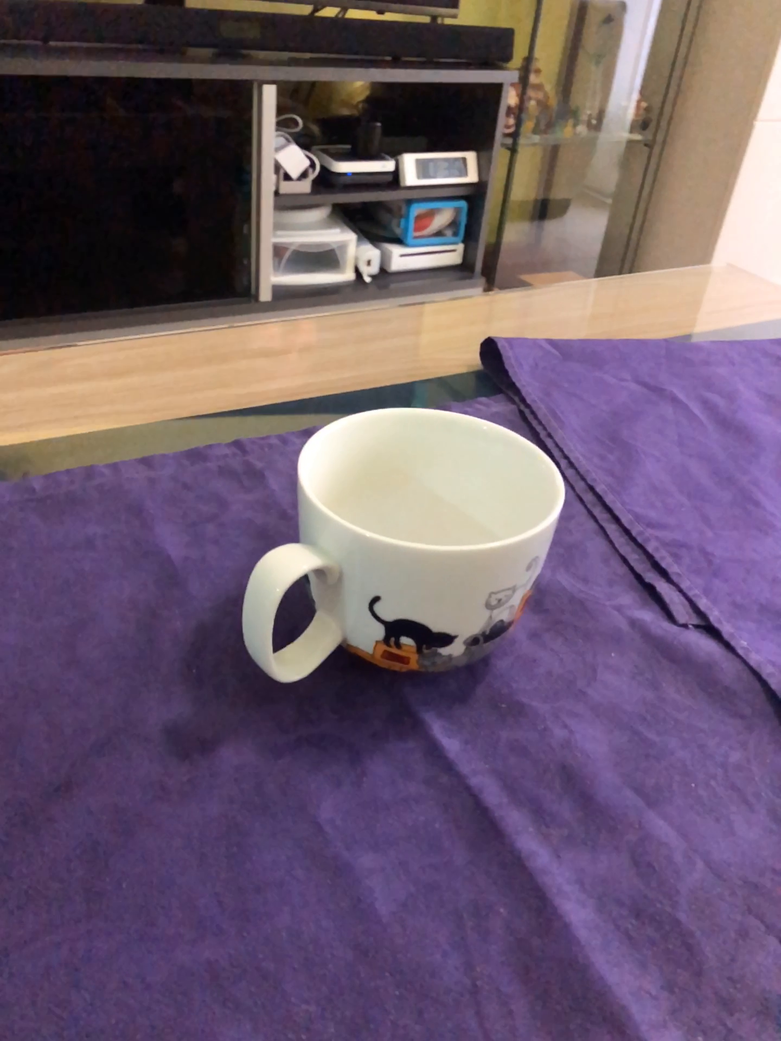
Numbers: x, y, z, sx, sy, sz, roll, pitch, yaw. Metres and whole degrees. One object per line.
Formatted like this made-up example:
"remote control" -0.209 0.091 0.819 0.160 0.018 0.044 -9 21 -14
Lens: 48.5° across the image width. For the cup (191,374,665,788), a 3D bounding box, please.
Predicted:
"cup" 0.014 0.011 0.318 0.140 0.070 0.090 -23 44 -35
